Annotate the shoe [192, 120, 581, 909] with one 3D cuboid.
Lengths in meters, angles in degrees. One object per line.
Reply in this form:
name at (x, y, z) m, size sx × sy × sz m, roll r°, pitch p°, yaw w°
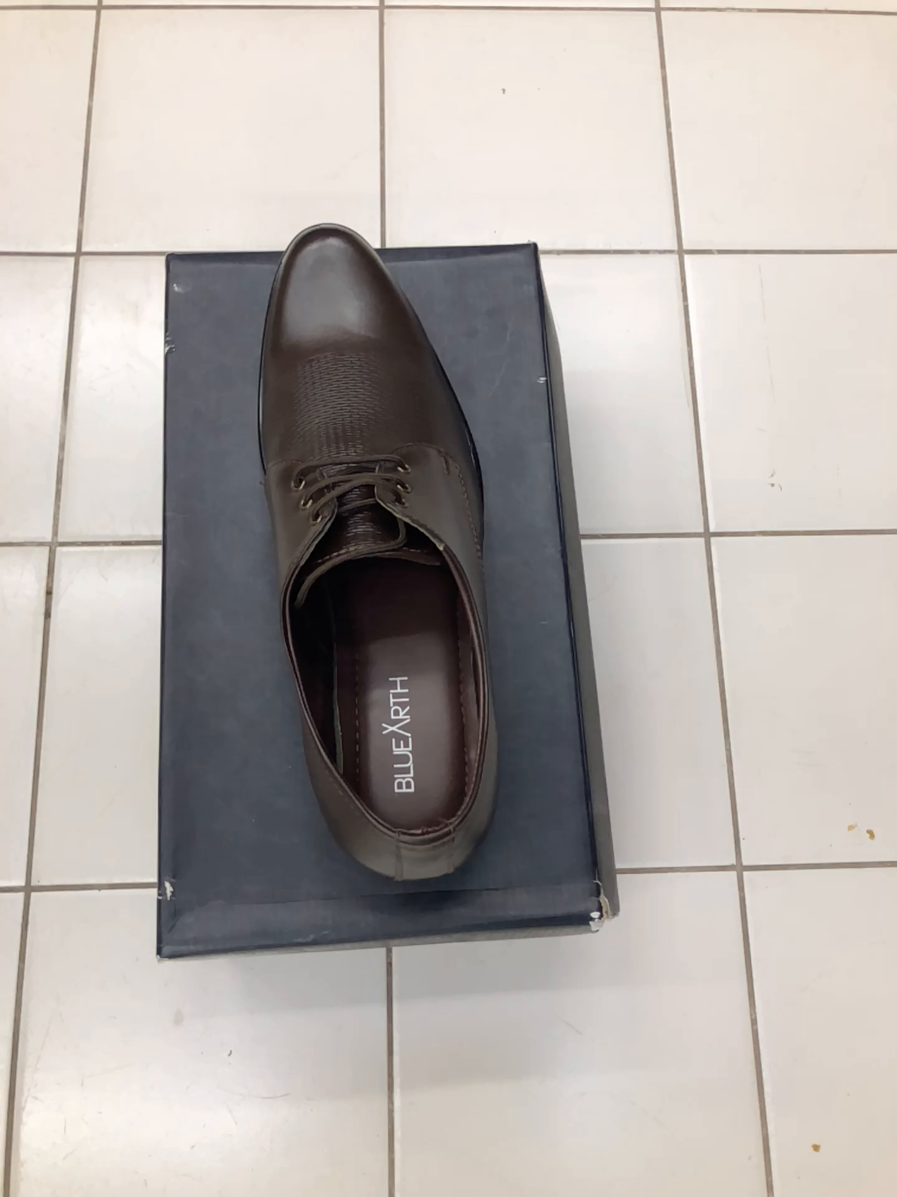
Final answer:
shoe at (-0.031, -0.035, 0.419) m, size 0.110 × 0.100 × 0.300 m, roll -7°, pitch 76°, yaw -3°
